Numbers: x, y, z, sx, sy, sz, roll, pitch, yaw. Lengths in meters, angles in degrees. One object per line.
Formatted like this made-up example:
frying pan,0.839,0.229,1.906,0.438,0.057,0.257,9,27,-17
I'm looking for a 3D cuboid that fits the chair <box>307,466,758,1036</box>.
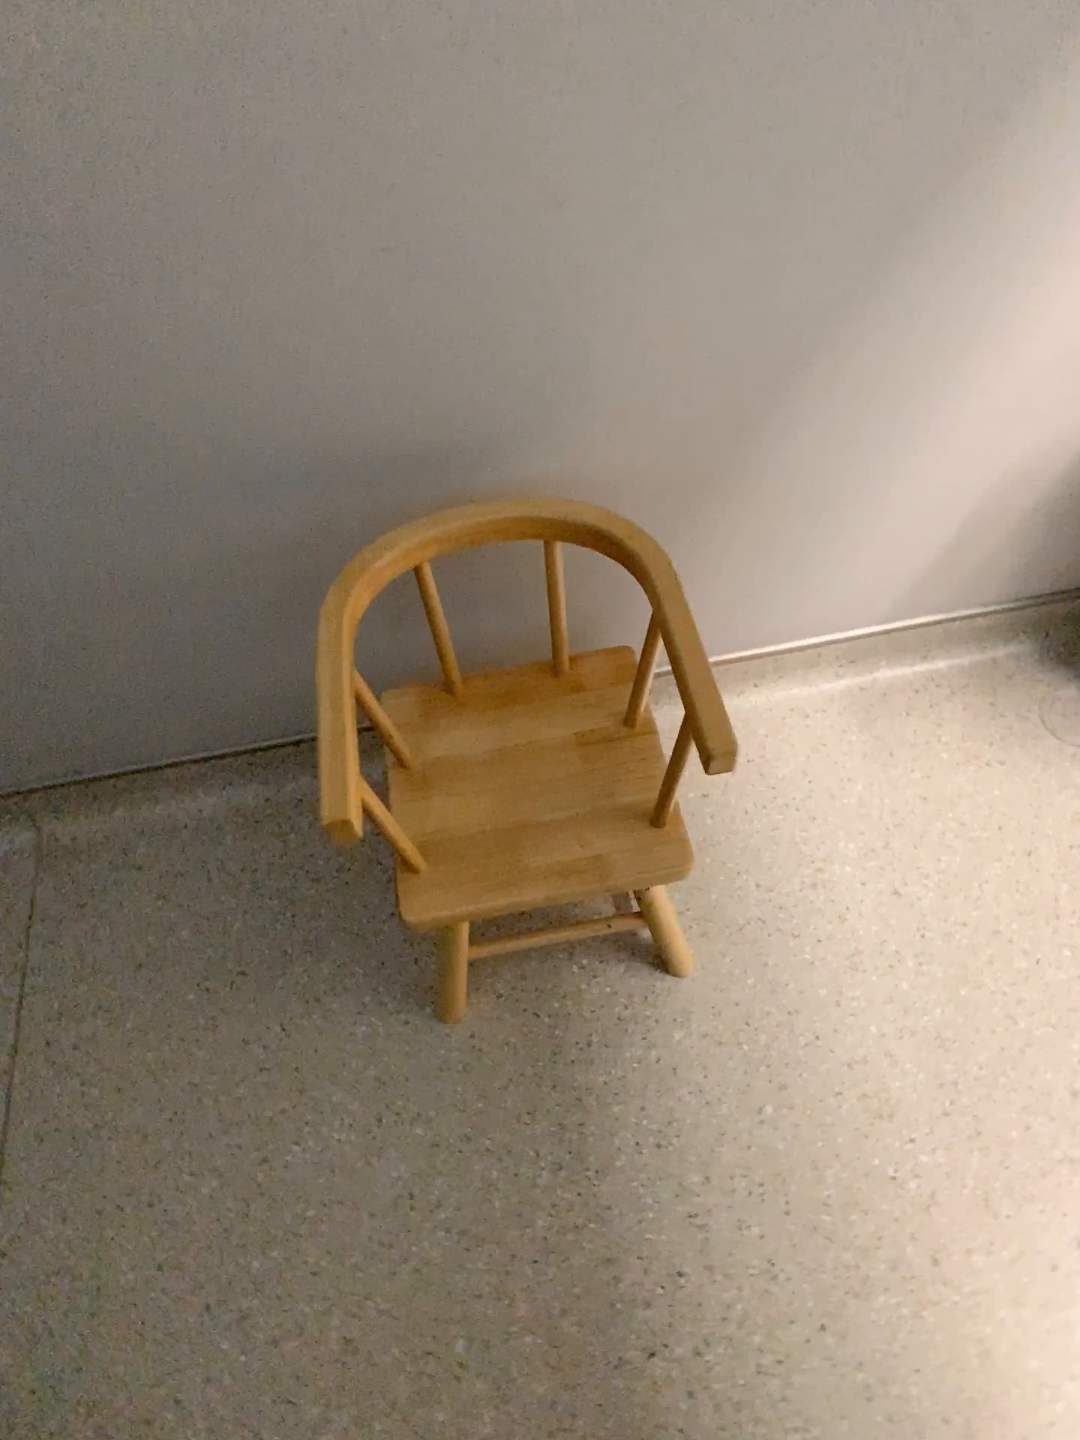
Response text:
chair,-0.001,0.057,1.164,0.361,0.482,0.345,-9,54,1
